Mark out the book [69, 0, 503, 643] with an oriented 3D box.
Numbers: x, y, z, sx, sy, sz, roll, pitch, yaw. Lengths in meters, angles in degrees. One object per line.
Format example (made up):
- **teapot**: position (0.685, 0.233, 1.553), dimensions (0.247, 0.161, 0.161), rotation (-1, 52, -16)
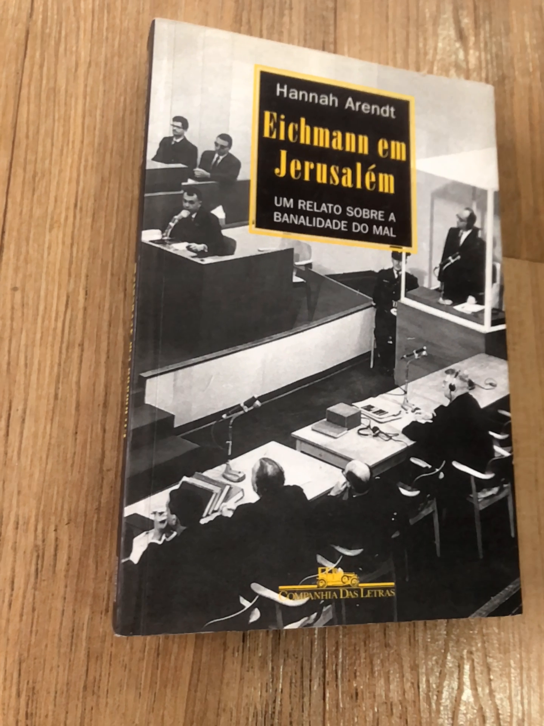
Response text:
- **book**: position (0.009, -0.015, 0.219), dimensions (0.140, 0.030, 0.200), rotation (4, 79, -17)
